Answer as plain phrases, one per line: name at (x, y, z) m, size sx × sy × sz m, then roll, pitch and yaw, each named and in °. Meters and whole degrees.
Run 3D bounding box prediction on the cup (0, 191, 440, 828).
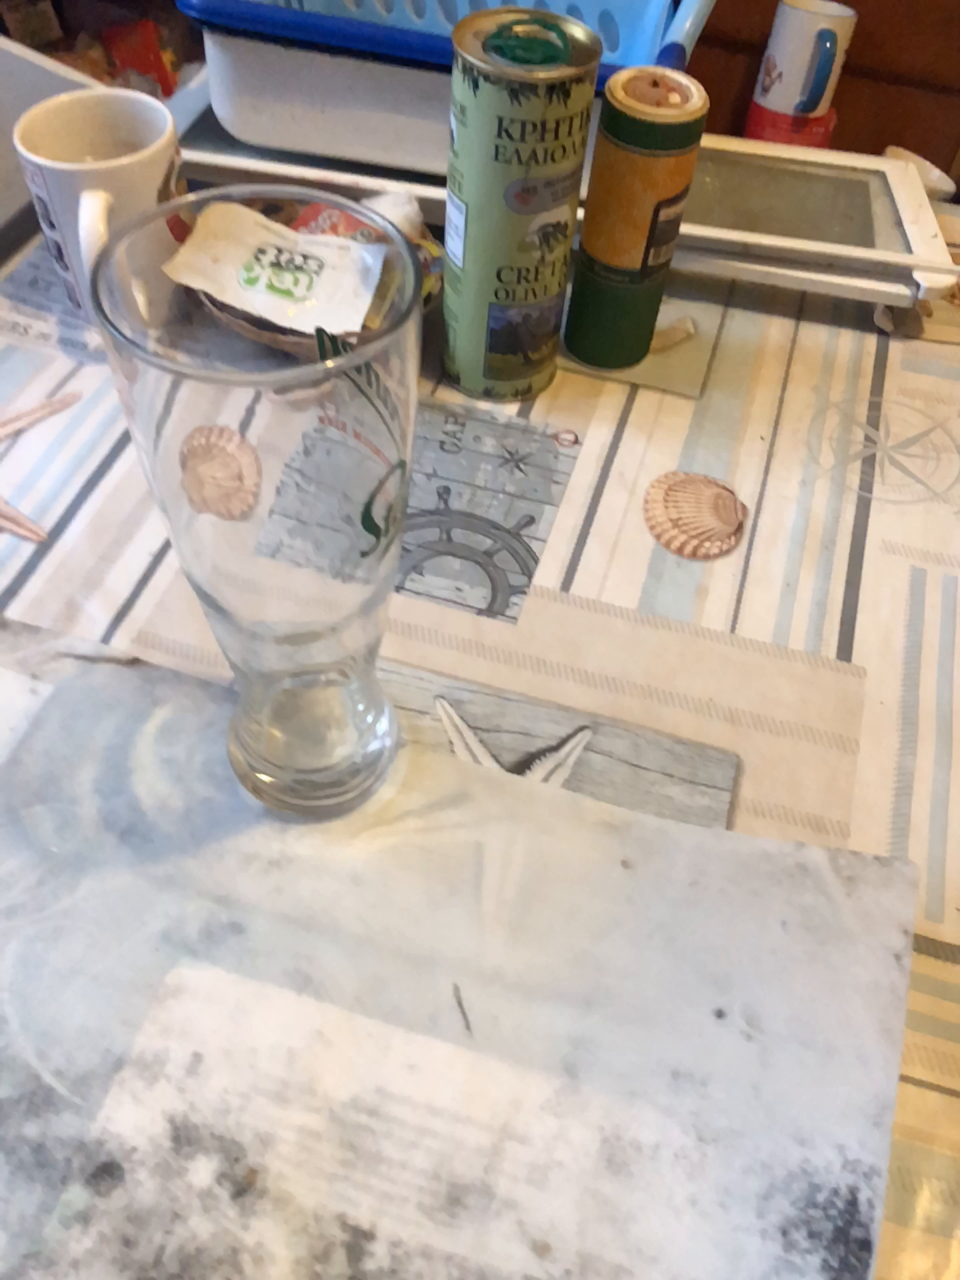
cup at (-0.068, -0.028, 0.338) m, size 0.098 × 0.192 × 0.089 m, roll -3°, pitch 53°, yaw -7°
